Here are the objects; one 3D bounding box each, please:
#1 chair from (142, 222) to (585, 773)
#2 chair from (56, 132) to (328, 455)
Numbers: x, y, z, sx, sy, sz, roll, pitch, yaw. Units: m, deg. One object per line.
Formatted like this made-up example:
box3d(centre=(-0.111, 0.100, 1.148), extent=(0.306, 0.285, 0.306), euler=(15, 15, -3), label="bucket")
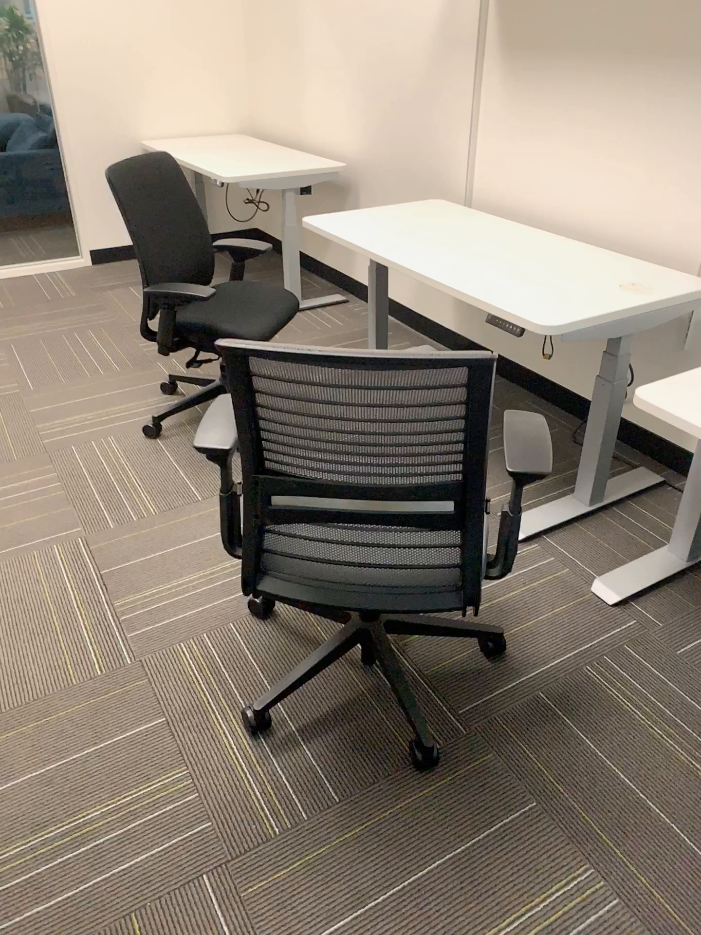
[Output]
box3d(centre=(0.025, 0.056, 1.567), extent=(0.640, 0.994, 0.644), euler=(1, 32, 2), label="chair")
box3d(centre=(-0.520, -0.700, 2.779), extent=(0.701, 0.994, 0.734), euler=(7, 32, 11), label="chair")
